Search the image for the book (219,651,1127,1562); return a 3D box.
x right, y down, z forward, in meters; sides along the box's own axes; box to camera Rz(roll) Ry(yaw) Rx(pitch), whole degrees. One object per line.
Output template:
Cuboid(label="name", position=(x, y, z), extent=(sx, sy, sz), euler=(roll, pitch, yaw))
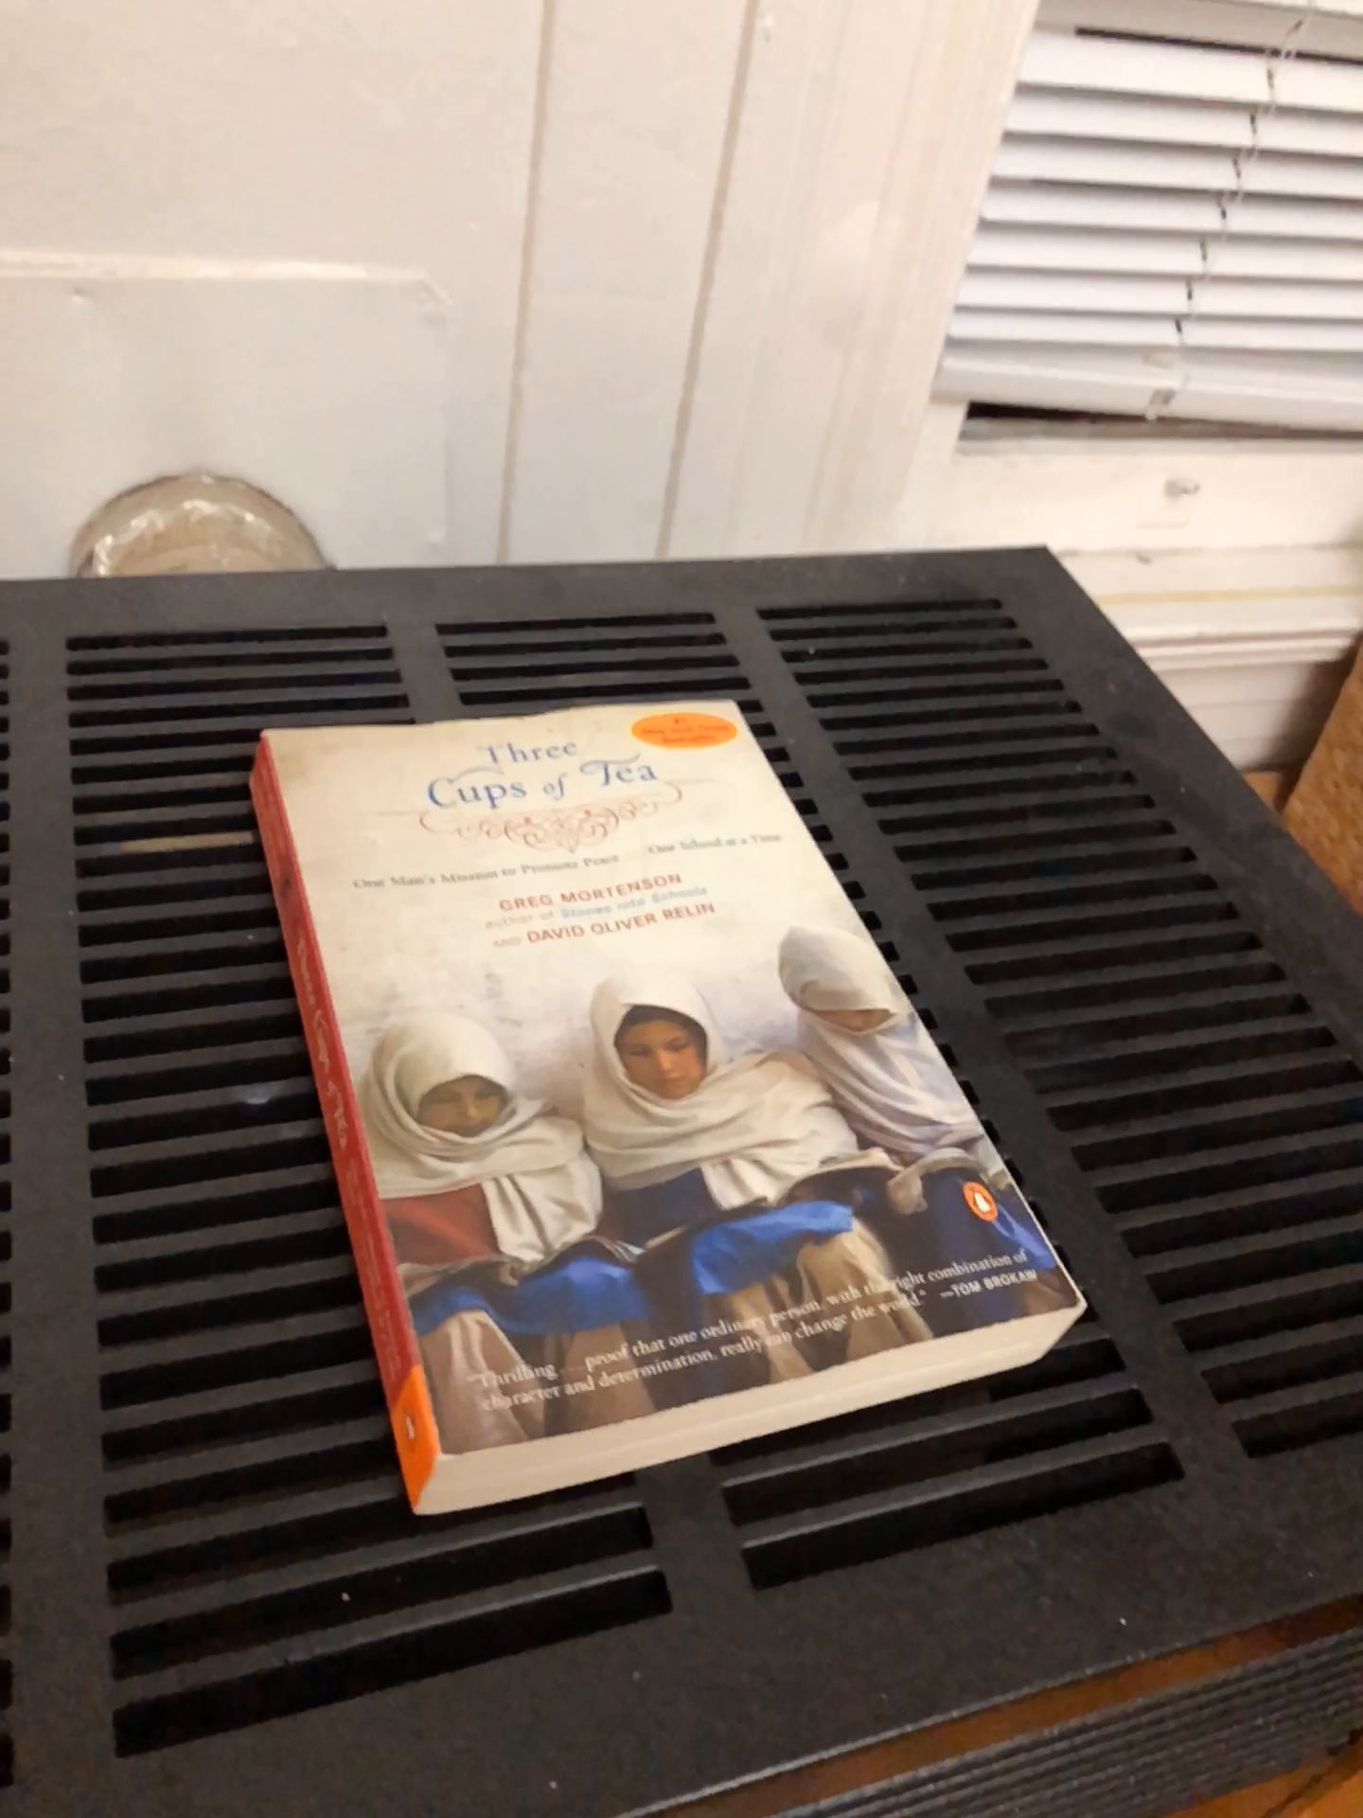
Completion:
Cuboid(label="book", position=(-0.018, 0.020, 0.352), extent=(0.140, 0.030, 0.221), euler=(-8, 46, -21))
